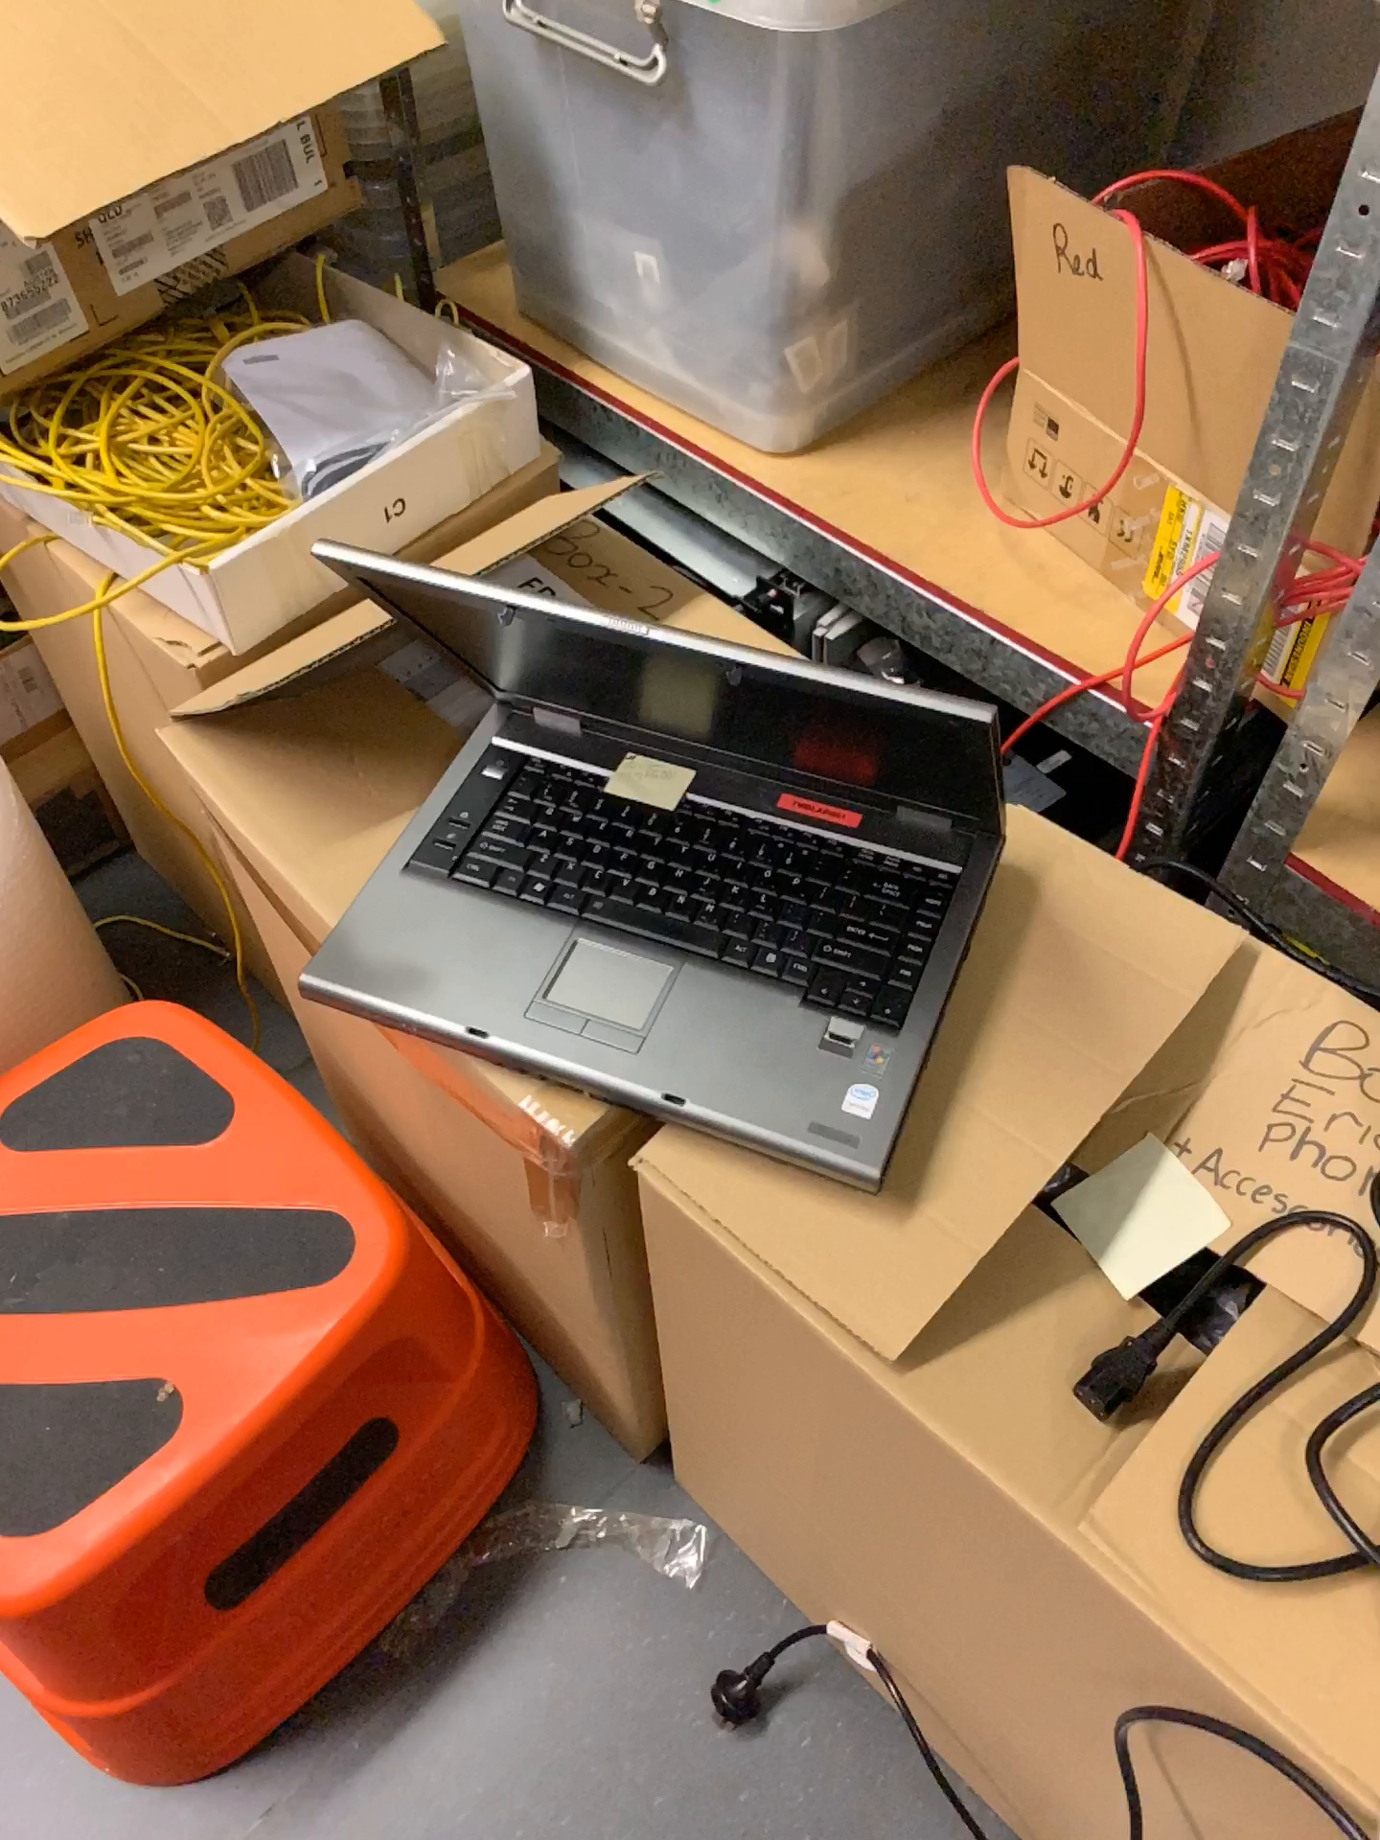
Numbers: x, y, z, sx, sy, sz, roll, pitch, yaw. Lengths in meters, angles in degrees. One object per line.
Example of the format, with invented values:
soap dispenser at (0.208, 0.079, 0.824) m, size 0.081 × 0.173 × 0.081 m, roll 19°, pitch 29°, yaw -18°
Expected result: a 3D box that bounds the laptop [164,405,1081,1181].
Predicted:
laptop at (-0.022, -0.078, 0.759) m, size 0.360 × 0.238 × 0.263 m, roll 16°, pitch 53°, yaw 15°
